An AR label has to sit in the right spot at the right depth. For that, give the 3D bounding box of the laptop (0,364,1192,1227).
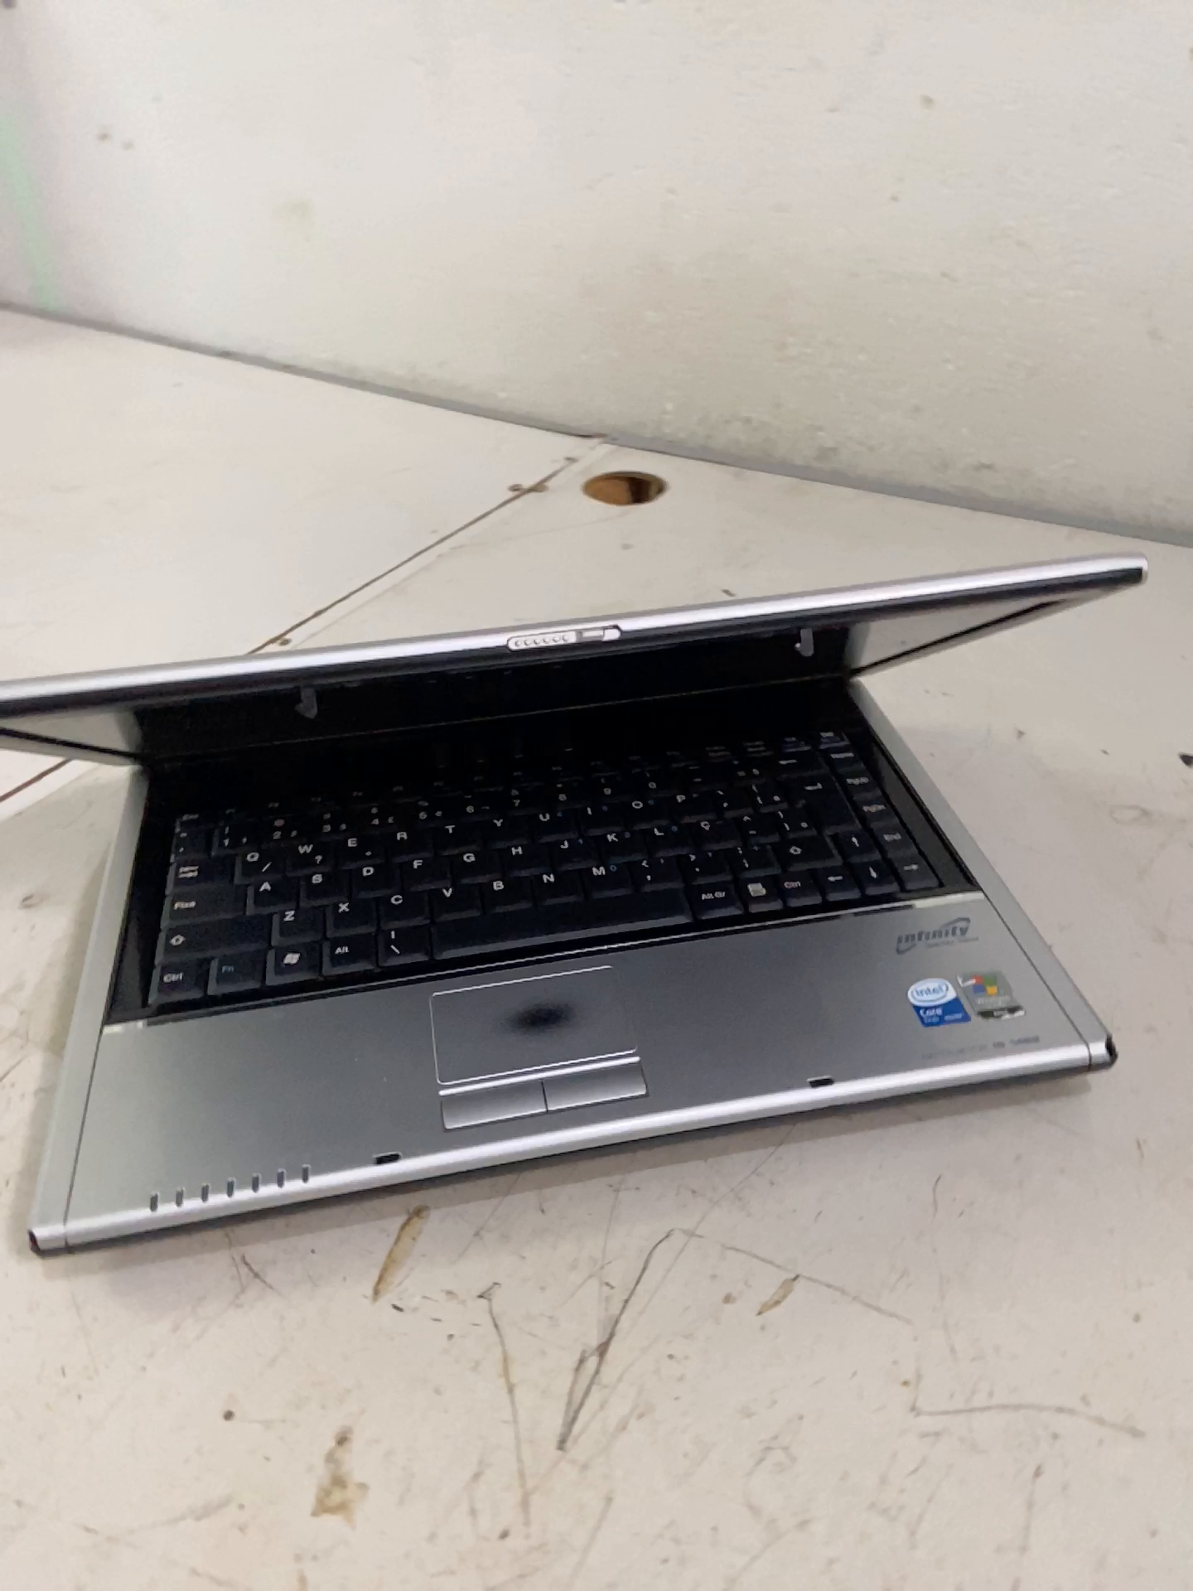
[{"bbox_3d":[-0.019,-0.024,0.410,0.319,0.144,0.227,-8,36,-7],"label":"laptop"}]
